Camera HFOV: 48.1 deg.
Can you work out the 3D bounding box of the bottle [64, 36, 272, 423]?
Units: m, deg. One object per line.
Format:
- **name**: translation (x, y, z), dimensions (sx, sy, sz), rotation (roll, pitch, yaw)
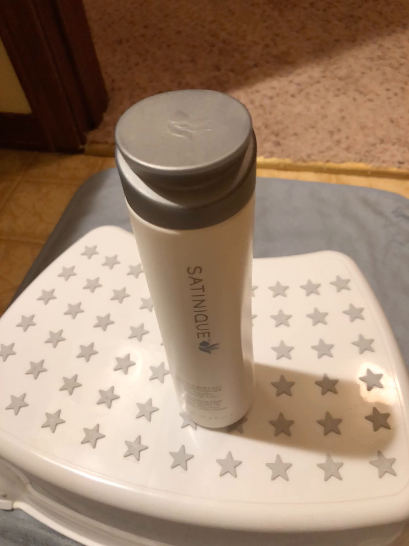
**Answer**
- **bottle**: translation (-0.001, 0.005, 0.225), dimensions (0.050, 0.210, 0.050), rotation (-3, 52, 4)
